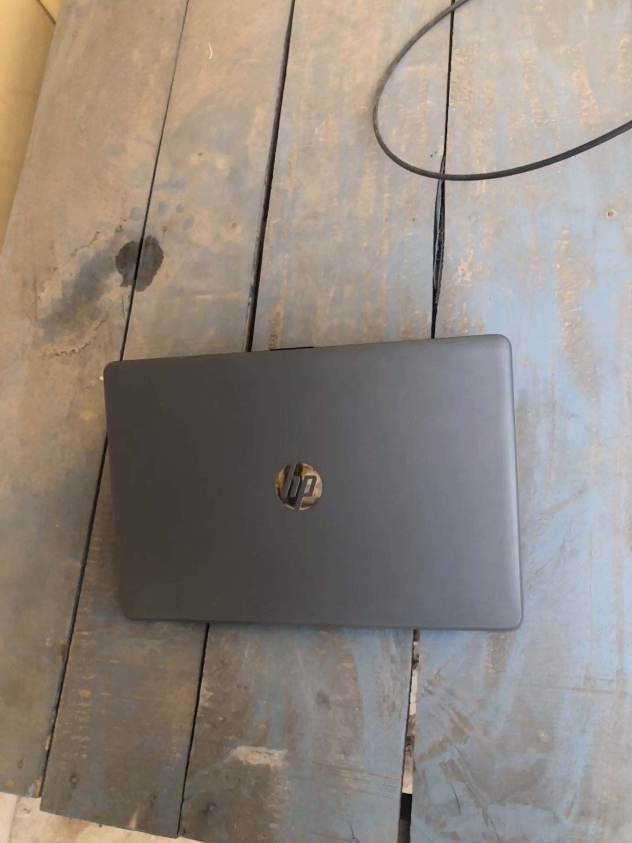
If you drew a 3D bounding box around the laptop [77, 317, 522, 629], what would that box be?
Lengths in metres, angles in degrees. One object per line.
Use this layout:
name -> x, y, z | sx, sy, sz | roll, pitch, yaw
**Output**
laptop -> -0.012, 0.051, 0.625 | 0.361, 0.096, 0.243 | -2, 73, 14
